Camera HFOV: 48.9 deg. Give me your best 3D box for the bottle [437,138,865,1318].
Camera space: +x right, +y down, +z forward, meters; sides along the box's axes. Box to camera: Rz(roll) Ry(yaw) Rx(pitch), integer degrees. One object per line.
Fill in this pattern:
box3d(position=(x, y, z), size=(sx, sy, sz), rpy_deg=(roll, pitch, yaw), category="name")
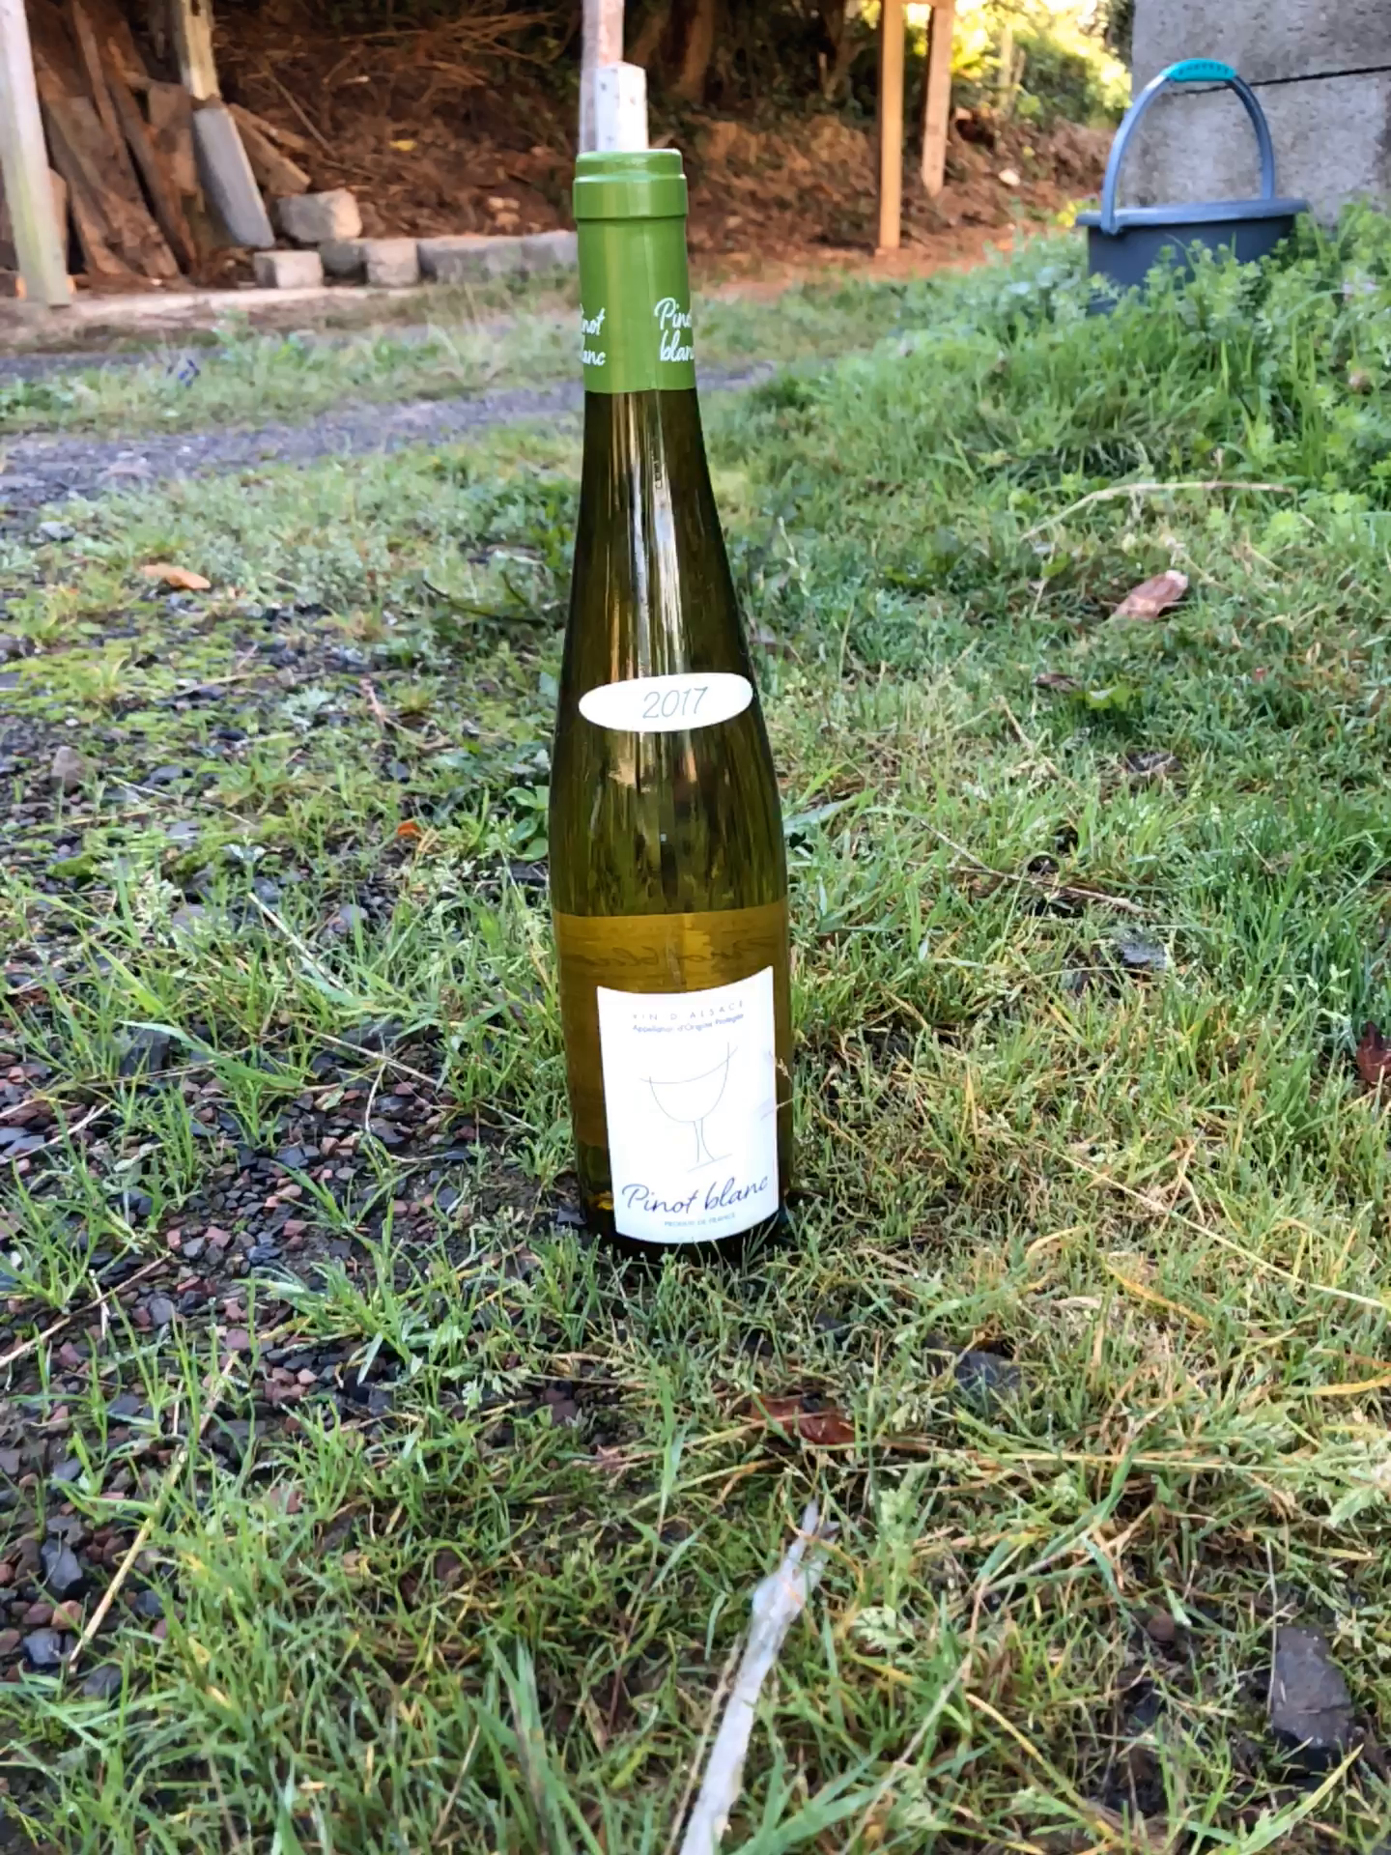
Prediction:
box3d(position=(-0.008, -0.050, 0.451), size=(0.090, 0.318, 0.090), rpy_deg=(-2, 24, 1), category="bottle")
